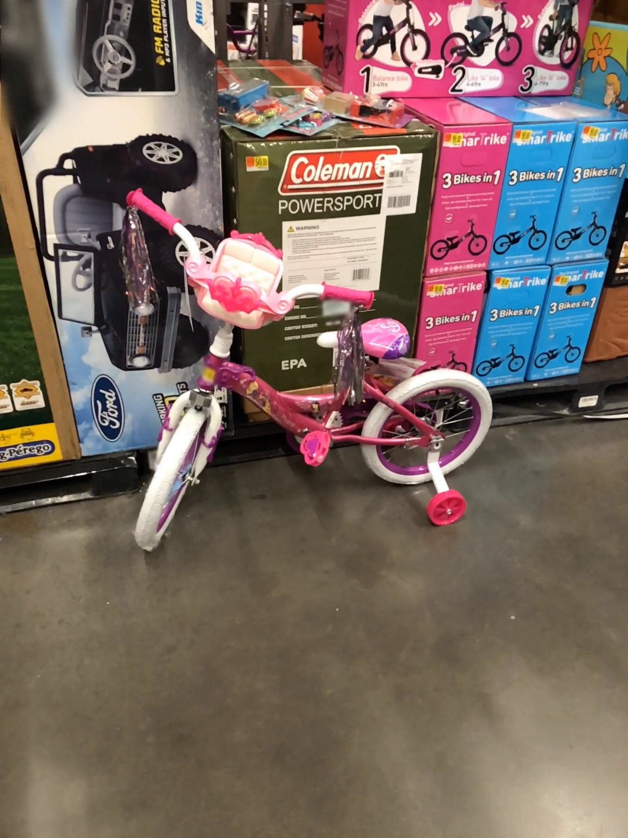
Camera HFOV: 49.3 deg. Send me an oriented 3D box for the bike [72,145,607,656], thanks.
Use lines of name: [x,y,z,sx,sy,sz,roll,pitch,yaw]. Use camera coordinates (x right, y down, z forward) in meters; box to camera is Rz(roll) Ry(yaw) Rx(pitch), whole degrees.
bike: [0.045,-0.086,1.601,0.949,0.854,0.479,-16,38,-23]
